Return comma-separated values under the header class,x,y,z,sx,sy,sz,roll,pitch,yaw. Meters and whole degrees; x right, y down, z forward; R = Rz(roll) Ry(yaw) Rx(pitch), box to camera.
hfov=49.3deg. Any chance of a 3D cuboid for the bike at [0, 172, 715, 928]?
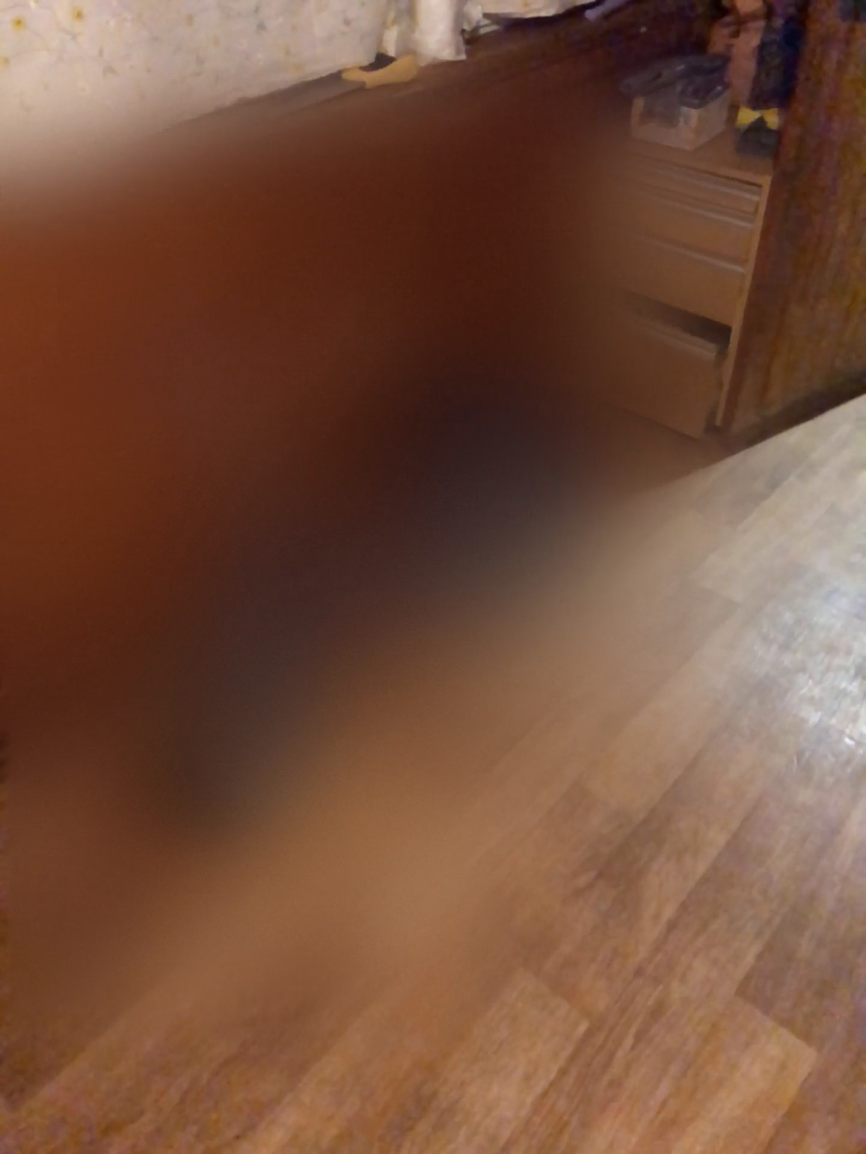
class,x,y,z,sx,sy,sz,roll,pitch,yaw
bike,-0.093,-0.130,1.526,0.594,0.698,0.960,31,48,31
